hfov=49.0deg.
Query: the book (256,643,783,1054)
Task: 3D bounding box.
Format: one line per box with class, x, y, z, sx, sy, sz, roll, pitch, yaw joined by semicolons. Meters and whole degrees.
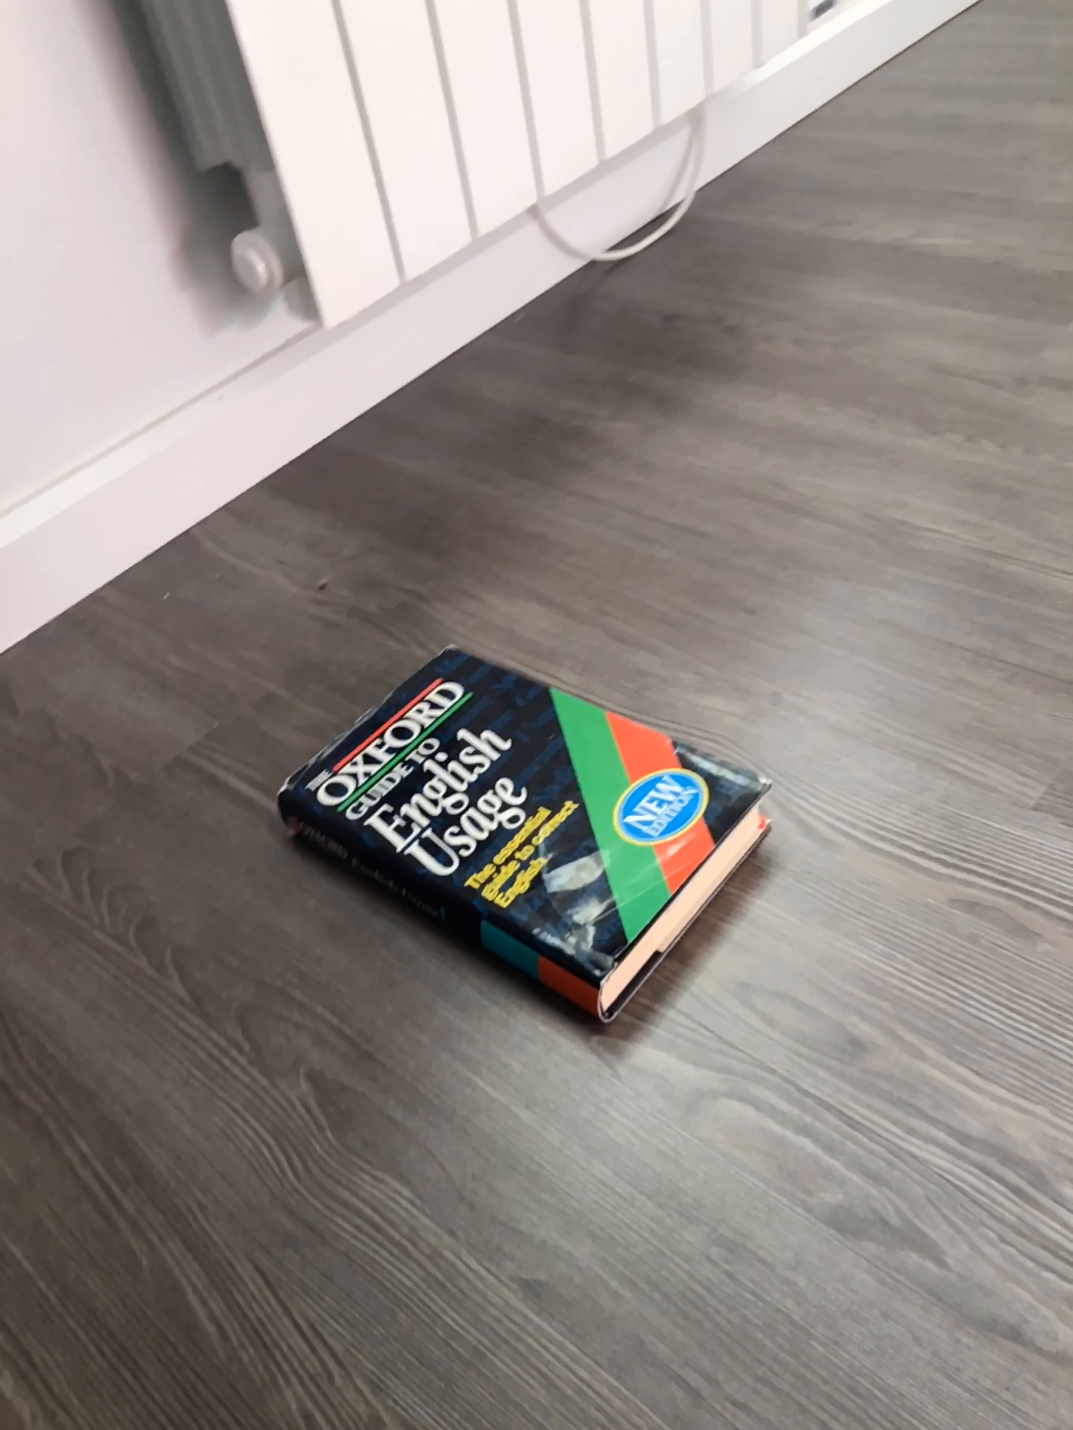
book;-0.012;0.054;0.612;0.230;0.035;0.151;24;53;34
